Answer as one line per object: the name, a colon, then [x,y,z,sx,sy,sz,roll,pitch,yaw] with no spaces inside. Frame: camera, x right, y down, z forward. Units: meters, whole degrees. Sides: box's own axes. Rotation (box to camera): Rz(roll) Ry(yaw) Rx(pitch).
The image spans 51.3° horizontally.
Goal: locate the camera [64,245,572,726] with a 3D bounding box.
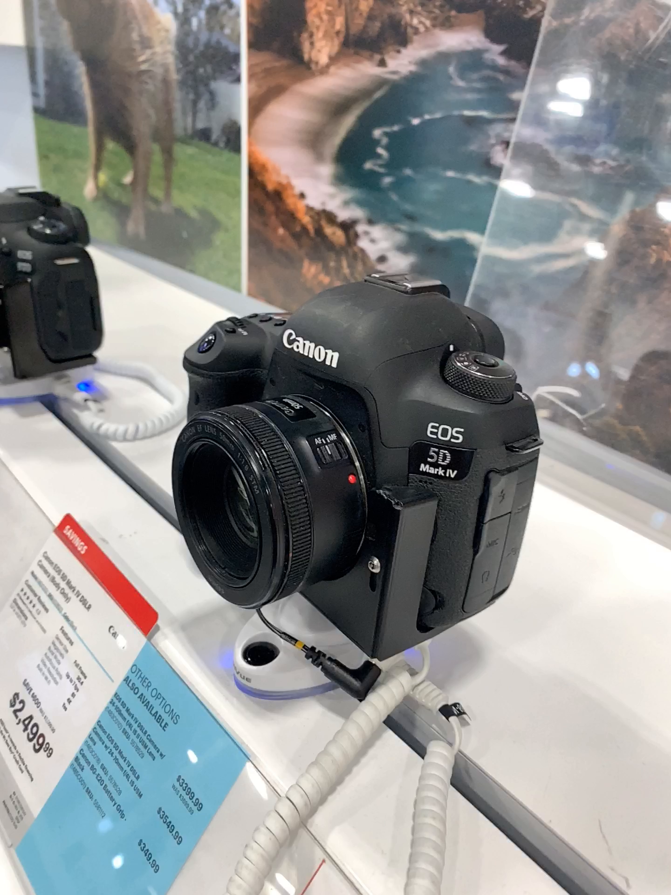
camera: [-0.014,-0.006,0.263,0.112,0.106,0.141,-17,32,-36]
